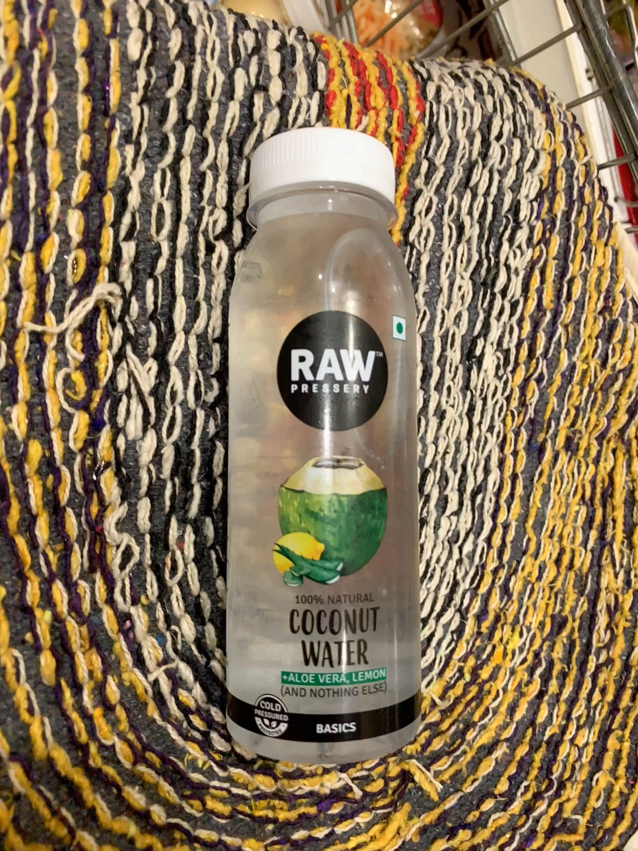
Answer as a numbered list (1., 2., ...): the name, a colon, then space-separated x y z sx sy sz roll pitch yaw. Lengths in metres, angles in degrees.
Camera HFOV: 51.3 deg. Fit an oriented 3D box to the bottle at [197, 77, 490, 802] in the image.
1. bottle: 0.001 0.002 0.168 0.060 0.050 0.150 0 84 -13
